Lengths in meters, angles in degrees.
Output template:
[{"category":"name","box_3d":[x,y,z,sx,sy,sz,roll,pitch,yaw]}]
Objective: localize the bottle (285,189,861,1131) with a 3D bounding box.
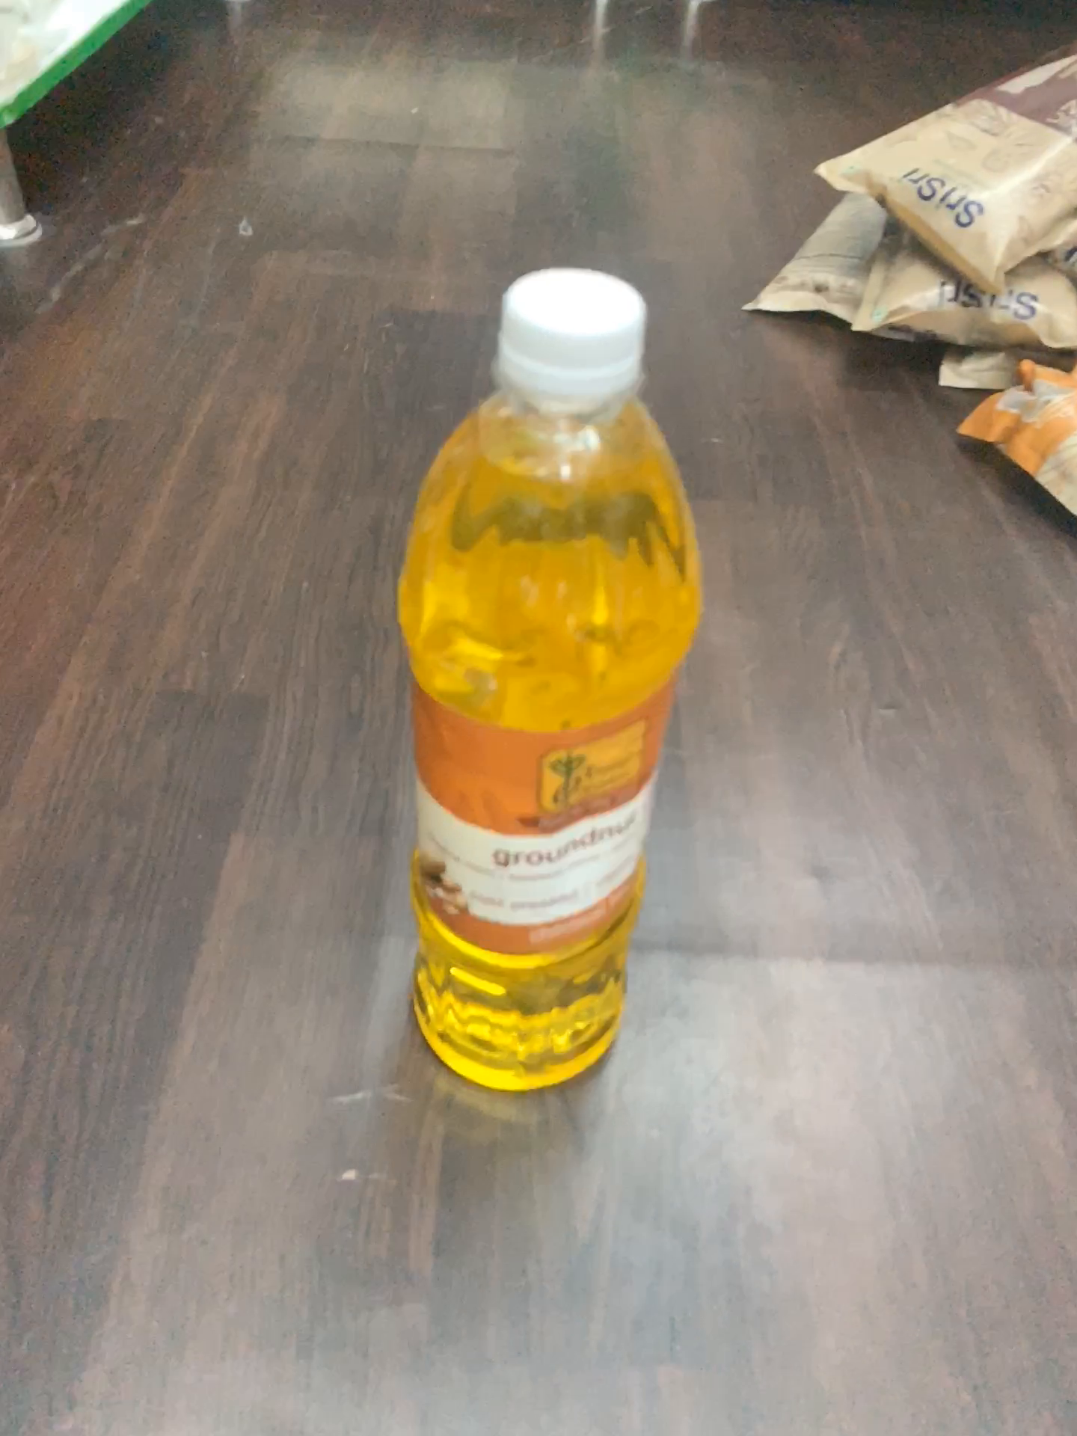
[{"category":"bottle","box_3d":[-0.002,0.007,0.299,0.090,0.259,0.070,-14,47,-17]}]
